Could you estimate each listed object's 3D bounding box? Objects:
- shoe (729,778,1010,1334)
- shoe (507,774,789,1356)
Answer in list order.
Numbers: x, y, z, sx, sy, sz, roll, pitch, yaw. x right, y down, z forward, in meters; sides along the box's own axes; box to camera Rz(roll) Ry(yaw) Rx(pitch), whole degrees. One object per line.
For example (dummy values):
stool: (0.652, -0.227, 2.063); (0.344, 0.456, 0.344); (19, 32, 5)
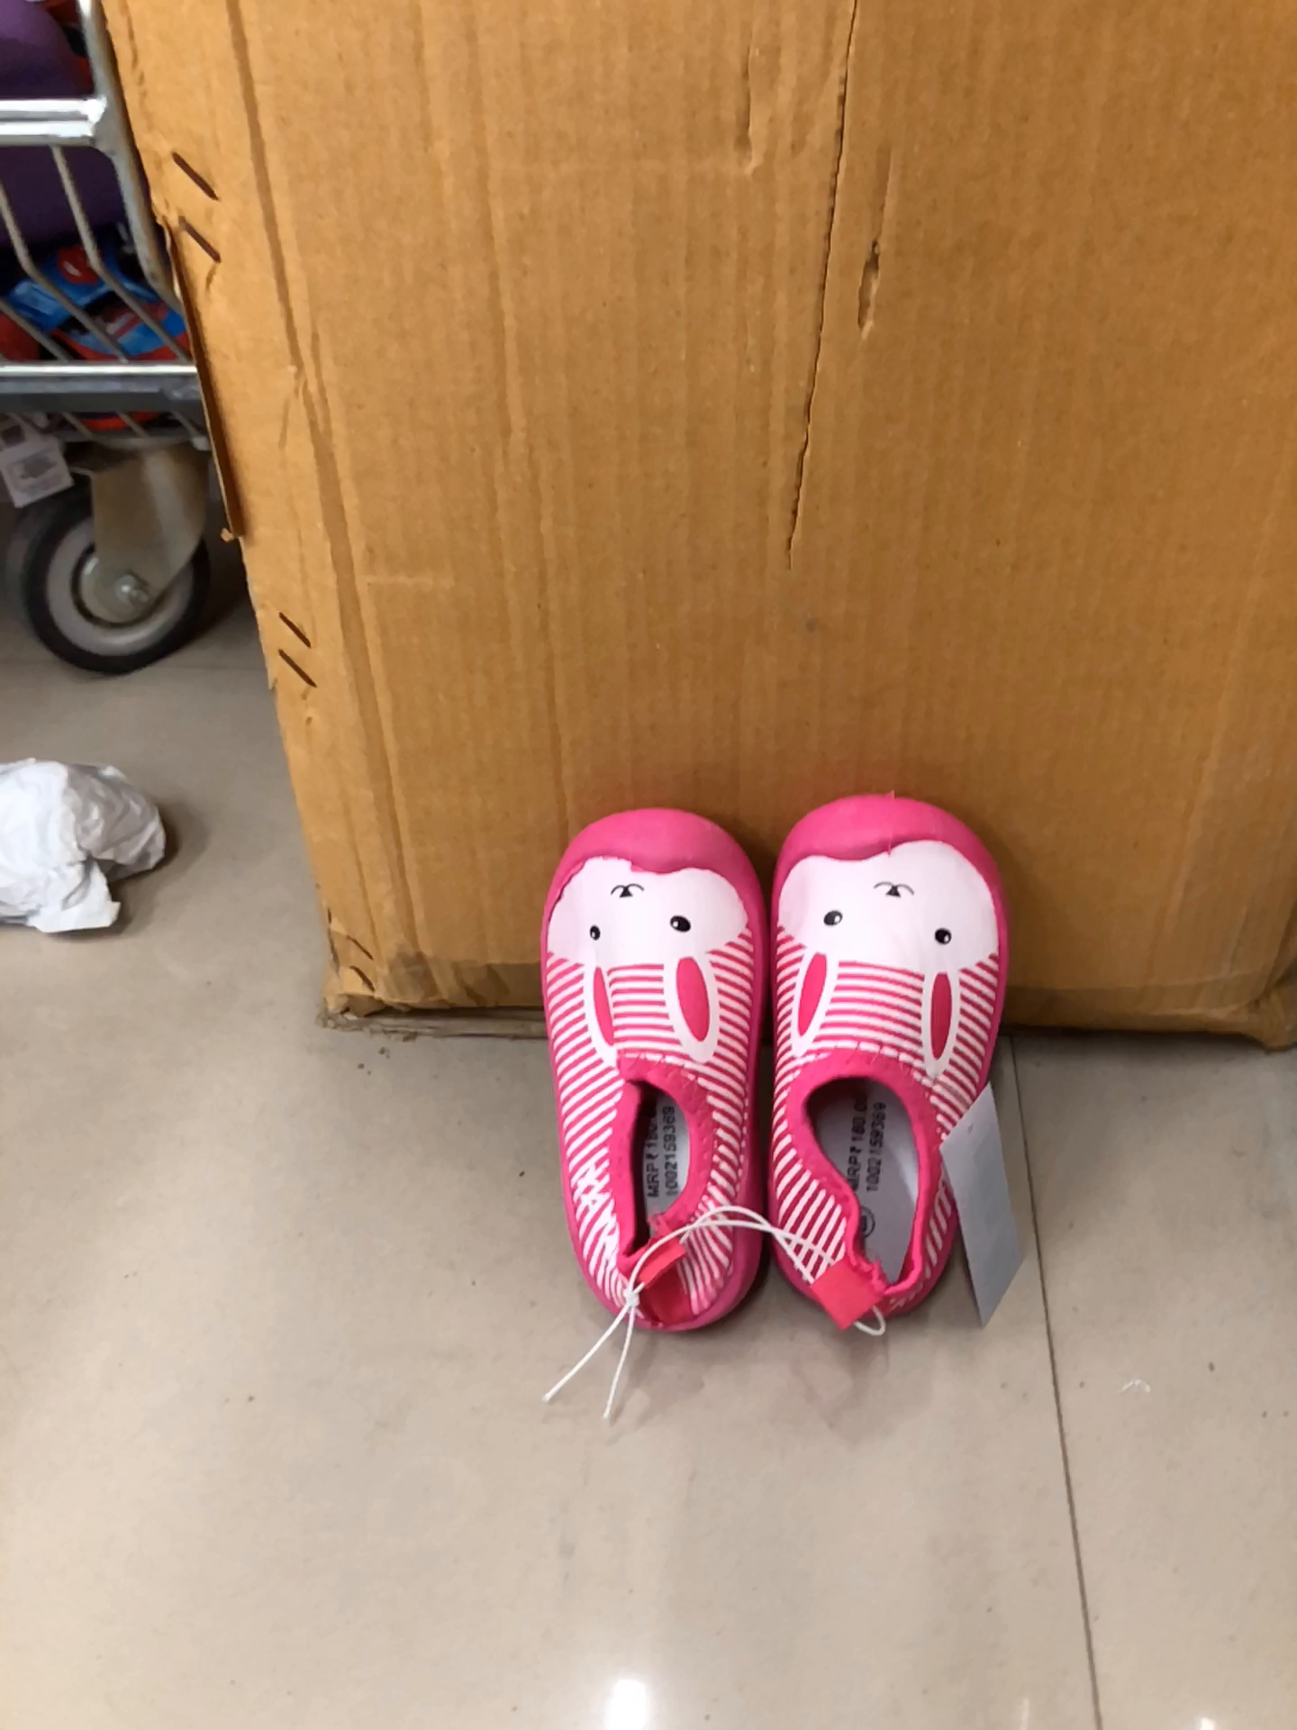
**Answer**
shoe: (0.071, 0.055, 0.439); (0.069, 0.082, 0.148); (3, 82, 13)
shoe: (0.001, 0.060, 0.440); (0.069, 0.082, 0.156); (-4, 80, 2)
